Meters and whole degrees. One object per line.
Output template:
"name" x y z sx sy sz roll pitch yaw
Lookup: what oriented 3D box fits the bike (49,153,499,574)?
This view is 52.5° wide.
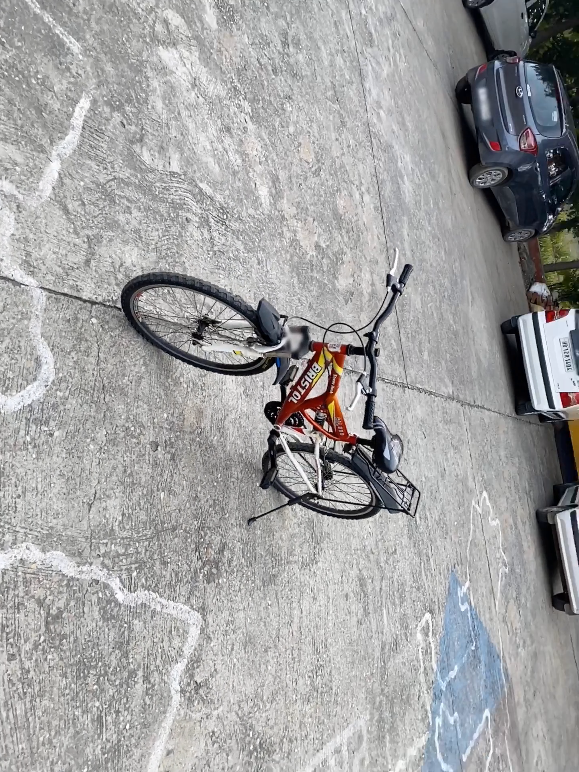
"bike" 0.085 0.099 2.258 1.517 0.977 0.585 52 38 -37
